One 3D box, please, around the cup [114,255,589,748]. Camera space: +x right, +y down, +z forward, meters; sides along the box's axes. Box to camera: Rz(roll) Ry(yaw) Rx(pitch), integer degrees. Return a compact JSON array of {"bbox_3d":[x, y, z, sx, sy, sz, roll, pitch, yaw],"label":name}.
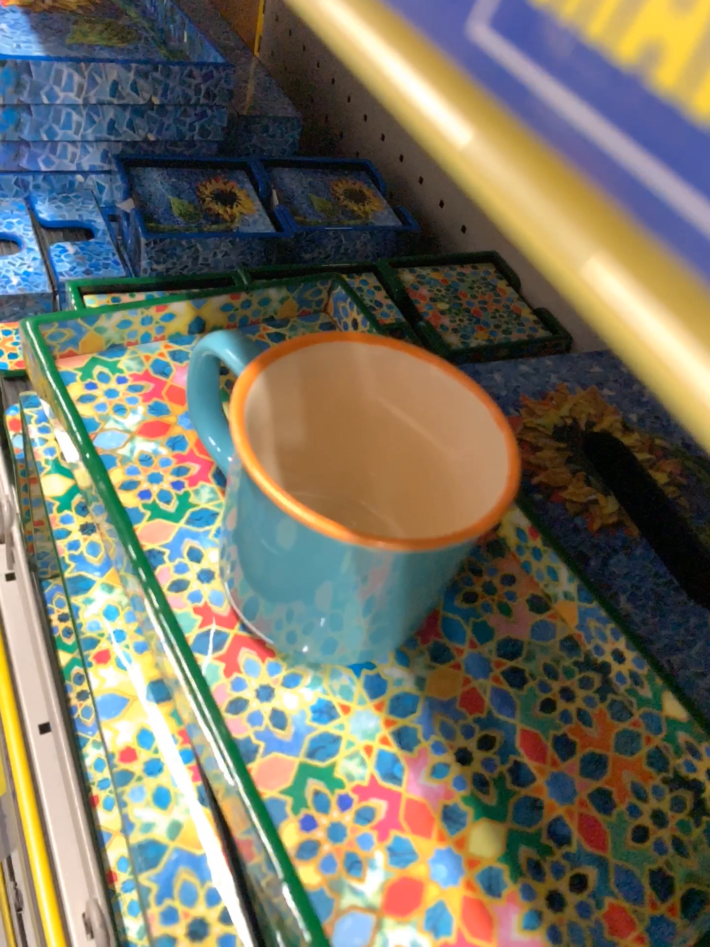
[{"bbox_3d":[-0.010,0.002,0.244,0.090,0.080,0.120,-24,61,-33],"label":"cup"}]
